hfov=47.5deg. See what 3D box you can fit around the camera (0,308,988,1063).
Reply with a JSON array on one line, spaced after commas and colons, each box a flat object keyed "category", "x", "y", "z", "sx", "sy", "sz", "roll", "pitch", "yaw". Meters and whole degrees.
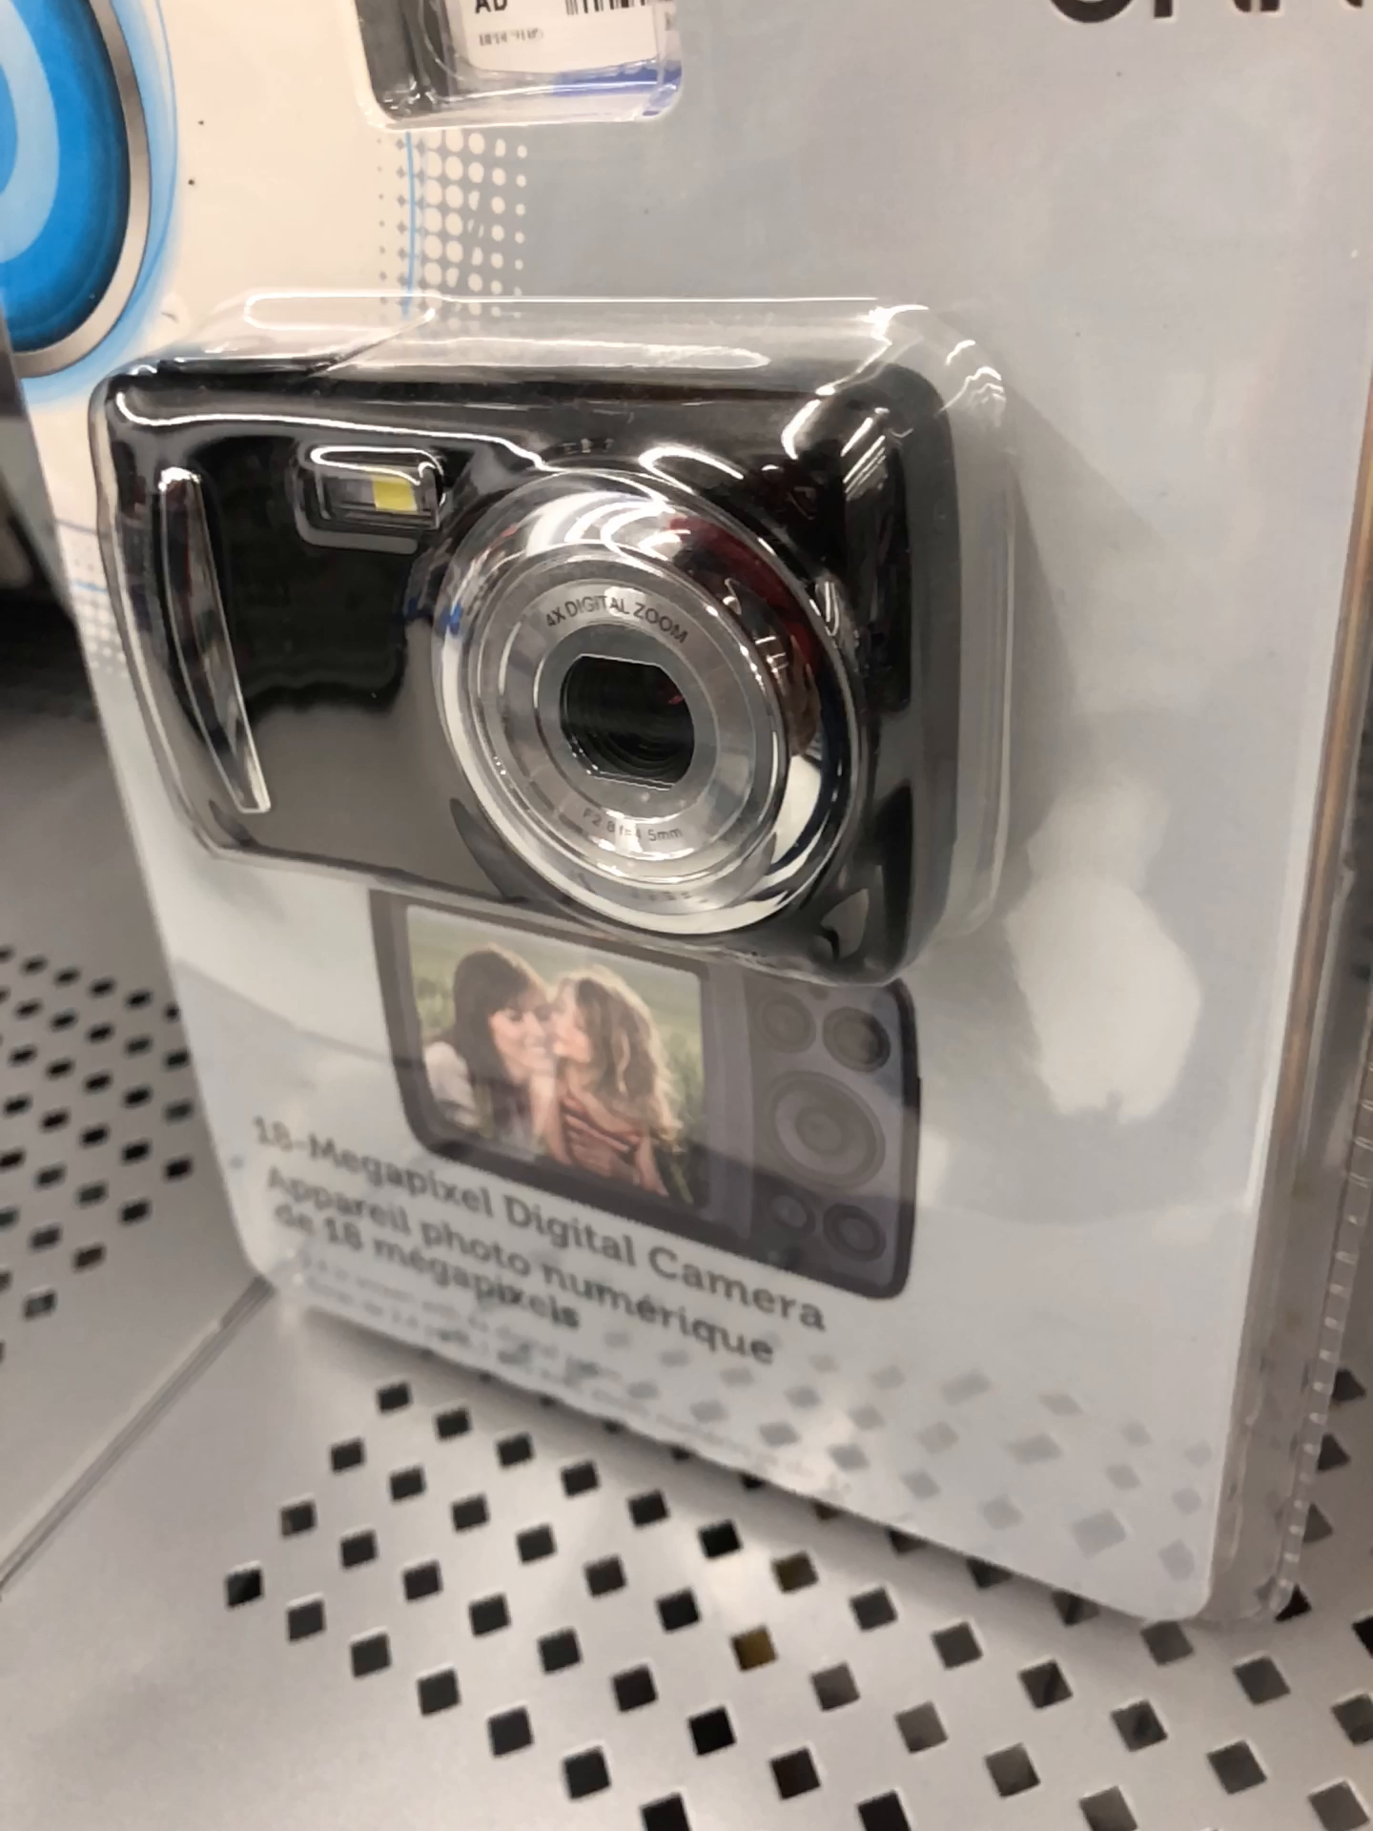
[{"category": "camera", "x": -0.021, "y": -0.029, "z": 0.165, "sx": 0.100, "sy": 0.060, "sz": 0.030, "roll": 13, "pitch": 36, "yaw": 28}]
